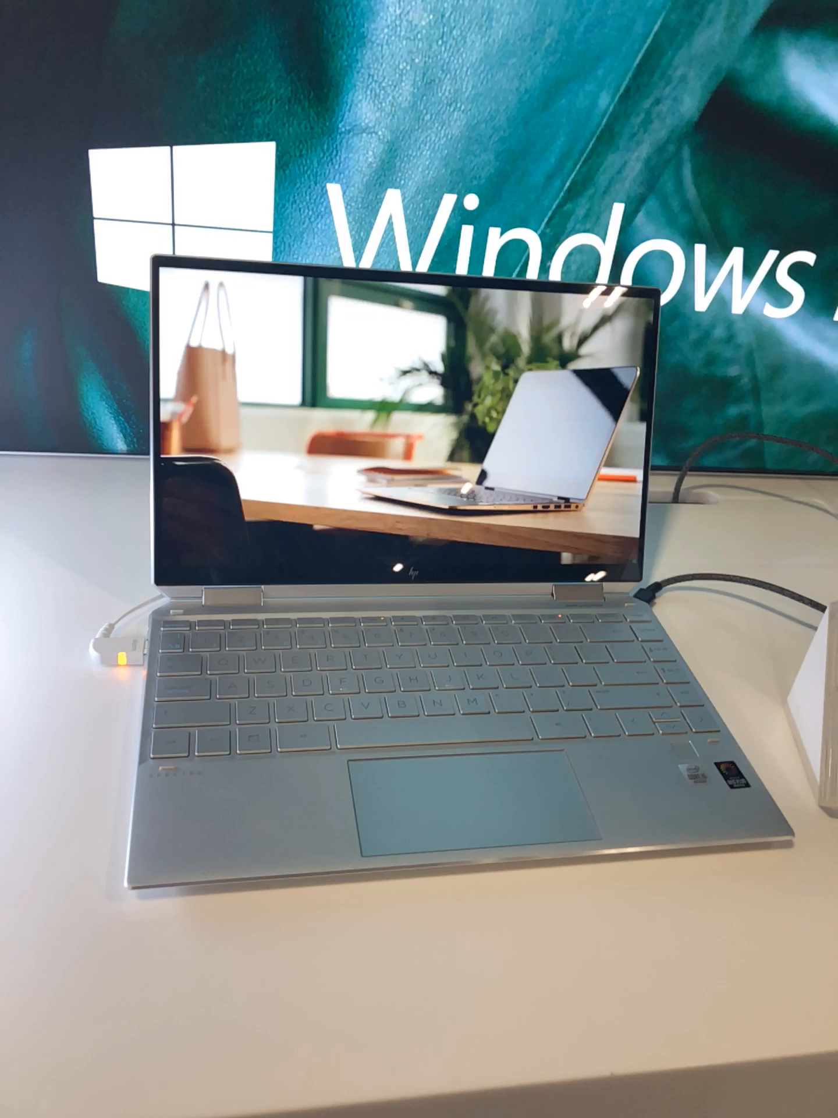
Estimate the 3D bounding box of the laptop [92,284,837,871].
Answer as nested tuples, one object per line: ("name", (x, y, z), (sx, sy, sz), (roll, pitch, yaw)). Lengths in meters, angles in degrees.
("laptop", (0.011, -0.007, 0.440), (0.281, 0.194, 0.241), (0, 27, -13))
